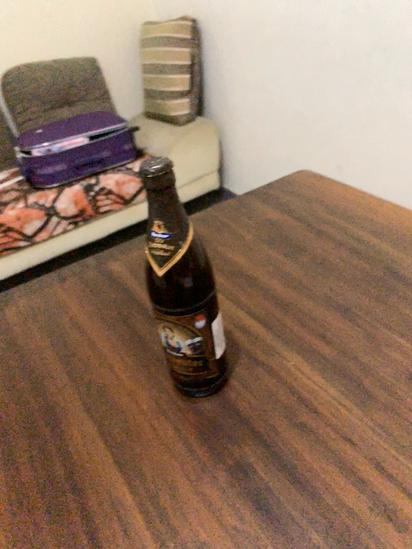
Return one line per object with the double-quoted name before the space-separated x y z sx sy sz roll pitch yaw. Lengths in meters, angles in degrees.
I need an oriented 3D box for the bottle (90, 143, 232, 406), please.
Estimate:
"bottle" -0.032 0.012 0.429 0.070 0.268 0.060 11 39 27
